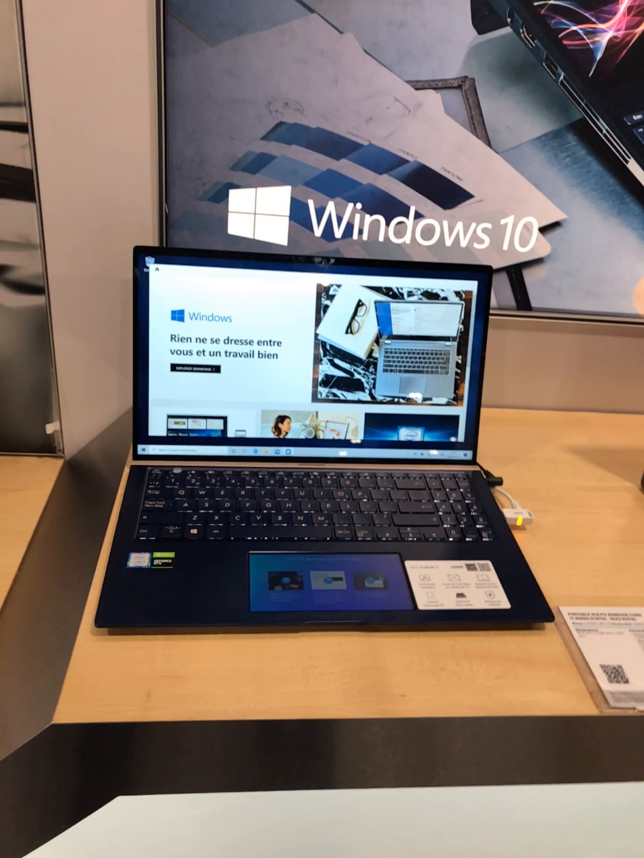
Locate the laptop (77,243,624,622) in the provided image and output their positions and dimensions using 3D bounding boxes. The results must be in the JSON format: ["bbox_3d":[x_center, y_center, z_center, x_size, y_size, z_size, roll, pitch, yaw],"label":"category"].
[{"bbox_3d":[0.003,-0.010,0.591,0.338,0.183,0.274,2,31,-8],"label":"laptop"}]
